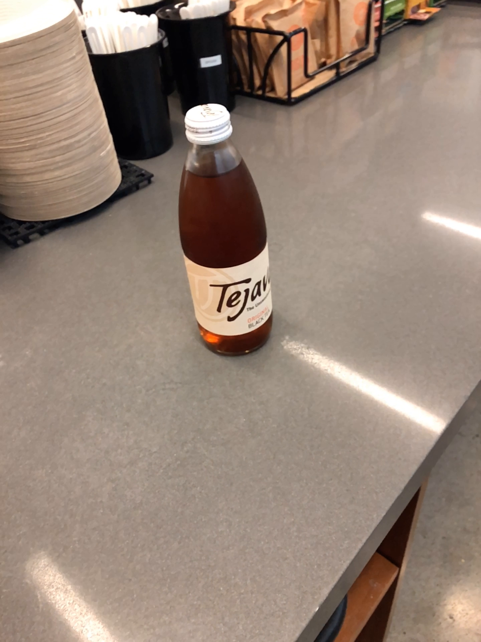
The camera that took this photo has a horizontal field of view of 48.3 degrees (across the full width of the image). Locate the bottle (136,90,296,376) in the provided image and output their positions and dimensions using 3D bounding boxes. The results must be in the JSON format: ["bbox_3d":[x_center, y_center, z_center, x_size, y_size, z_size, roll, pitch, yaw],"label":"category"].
[{"bbox_3d":[-0.009,-0.059,0.403,0.070,0.189,0.070,-4,42,3],"label":"bottle"}]
